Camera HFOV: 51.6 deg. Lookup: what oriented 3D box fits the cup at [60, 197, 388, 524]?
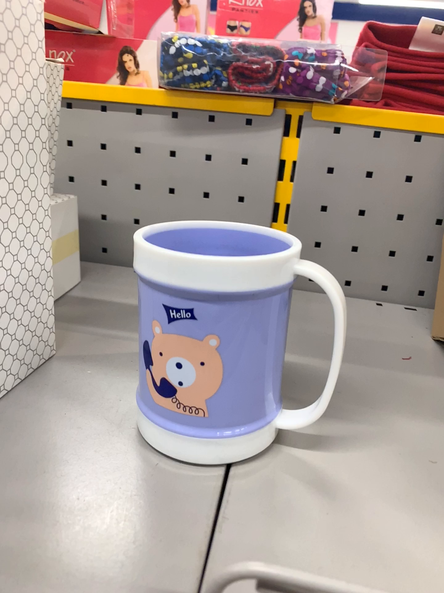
[{"bbox_3d":[0.004,0.016,0.218,0.120,0.100,0.090,11,21,15],"label":"cup"}]
